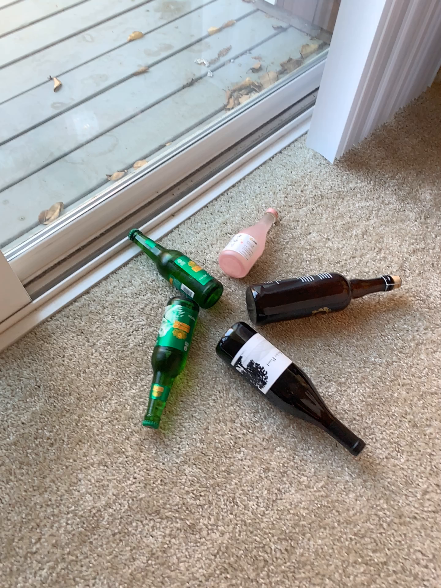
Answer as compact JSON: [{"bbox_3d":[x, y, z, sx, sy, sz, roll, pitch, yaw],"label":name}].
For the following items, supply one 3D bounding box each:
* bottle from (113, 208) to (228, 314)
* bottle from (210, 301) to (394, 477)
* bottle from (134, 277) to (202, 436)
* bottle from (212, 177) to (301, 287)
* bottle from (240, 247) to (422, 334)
[{"bbox_3d":[-0.096,-0.065,0.865,0.230,0.080,0.060,35,63,18],"label":"bottle"},{"bbox_3d":[0.115,0.148,0.722,0.301,0.090,0.070,40,65,20],"label":"bottle"},{"bbox_3d":[-0.080,0.099,0.746,0.060,0.090,0.241,8,59,2],"label":"bottle"},{"bbox_3d":[0.071,-0.124,0.882,0.070,0.090,0.200,31,62,15],"label":"bottle"},{"bbox_3d":[0.198,-0.006,0.833,0.310,0.090,0.070,-10,60,-9],"label":"bottle"}]
